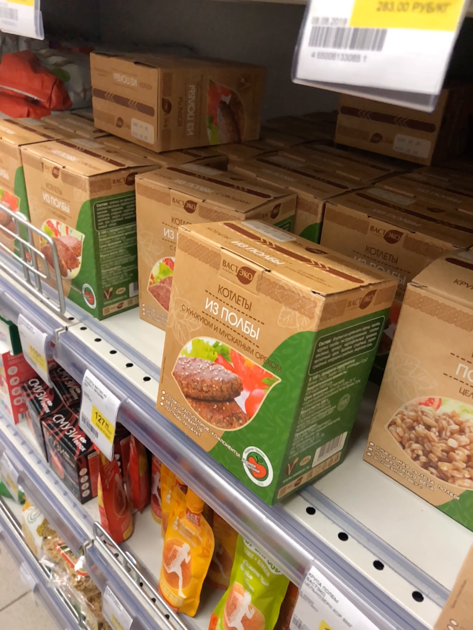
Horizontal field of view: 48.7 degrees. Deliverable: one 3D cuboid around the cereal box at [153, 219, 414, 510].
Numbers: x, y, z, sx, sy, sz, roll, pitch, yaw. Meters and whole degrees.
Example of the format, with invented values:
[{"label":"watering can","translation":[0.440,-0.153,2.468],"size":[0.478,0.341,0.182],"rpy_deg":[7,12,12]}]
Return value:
[{"label":"cereal box","translation":[0.024,0.023,0.355],"size":[0.120,0.139,0.090],"rpy_deg":[30,30,36]}]
